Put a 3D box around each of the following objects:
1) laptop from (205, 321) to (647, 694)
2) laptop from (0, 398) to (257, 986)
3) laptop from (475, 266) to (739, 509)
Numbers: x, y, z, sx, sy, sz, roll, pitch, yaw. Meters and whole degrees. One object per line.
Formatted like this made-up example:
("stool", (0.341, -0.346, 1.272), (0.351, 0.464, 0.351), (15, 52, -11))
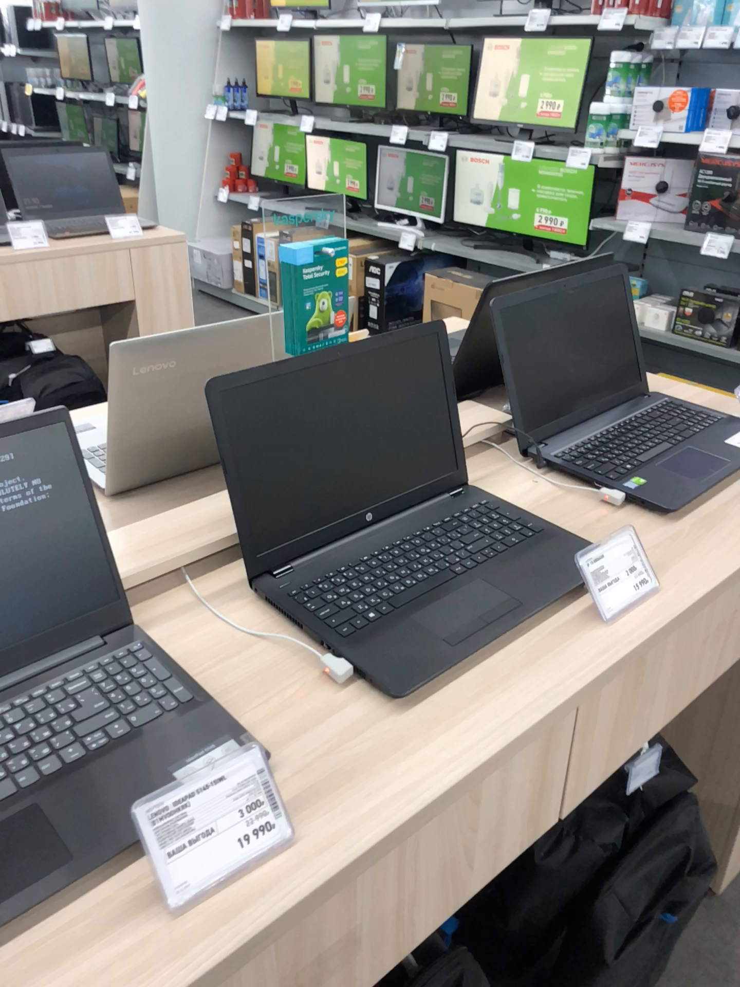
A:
("laptop", (0.061, -0.022, 0.922), (0.367, 0.216, 0.312), (-23, 36, -38))
("laptop", (-0.319, 0.114, 0.641), (0.332, 0.213, 0.328), (-22, 36, -38))
("laptop", (0.424, -0.190, 1.257), (0.334, 0.209, 0.370), (27, 37, 37))
